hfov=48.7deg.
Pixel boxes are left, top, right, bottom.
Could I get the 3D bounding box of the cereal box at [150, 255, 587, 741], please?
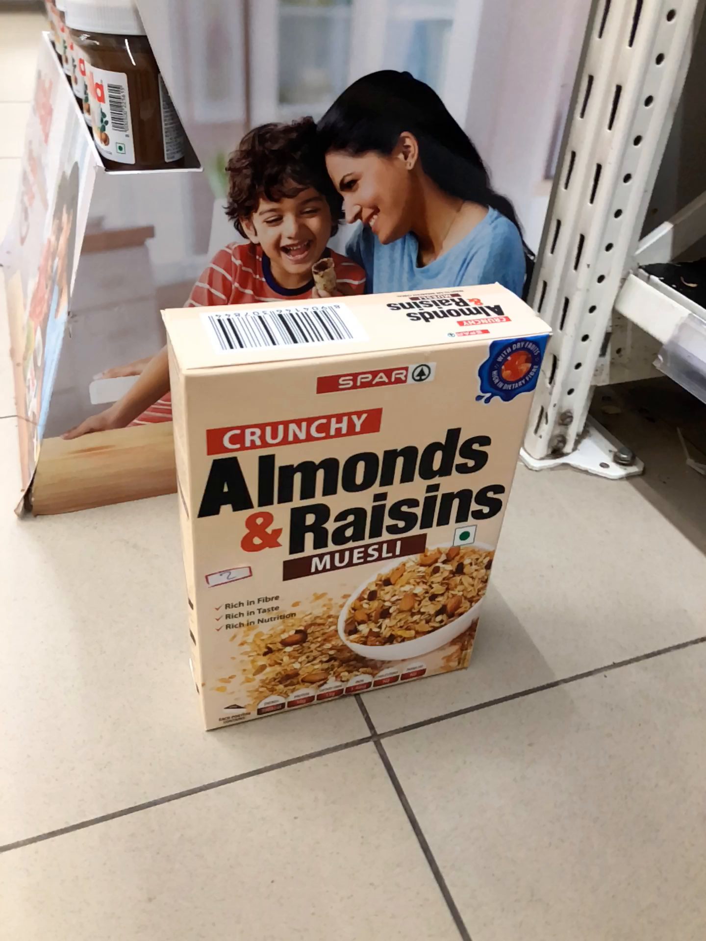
[{"bbox_3d":[0.001,0.020,0.407,0.180,0.238,0.060,-9,38,-19],"label":"cereal box"}]
